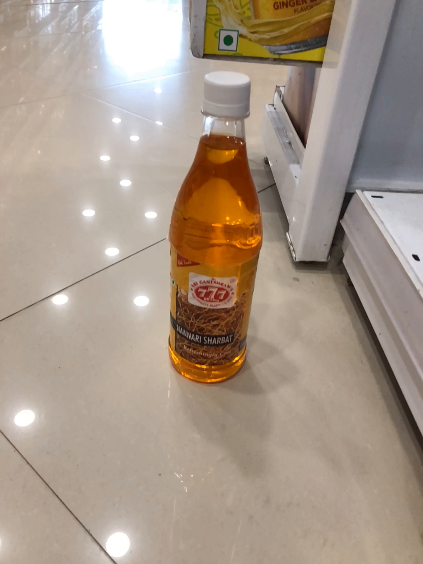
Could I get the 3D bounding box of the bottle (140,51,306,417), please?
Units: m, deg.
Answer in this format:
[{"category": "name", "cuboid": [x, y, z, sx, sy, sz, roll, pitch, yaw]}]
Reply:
[{"category": "bottle", "cuboid": [0.003, -0.025, 0.412, 0.100, 0.298, 0.101, 3, 37, -3]}]
